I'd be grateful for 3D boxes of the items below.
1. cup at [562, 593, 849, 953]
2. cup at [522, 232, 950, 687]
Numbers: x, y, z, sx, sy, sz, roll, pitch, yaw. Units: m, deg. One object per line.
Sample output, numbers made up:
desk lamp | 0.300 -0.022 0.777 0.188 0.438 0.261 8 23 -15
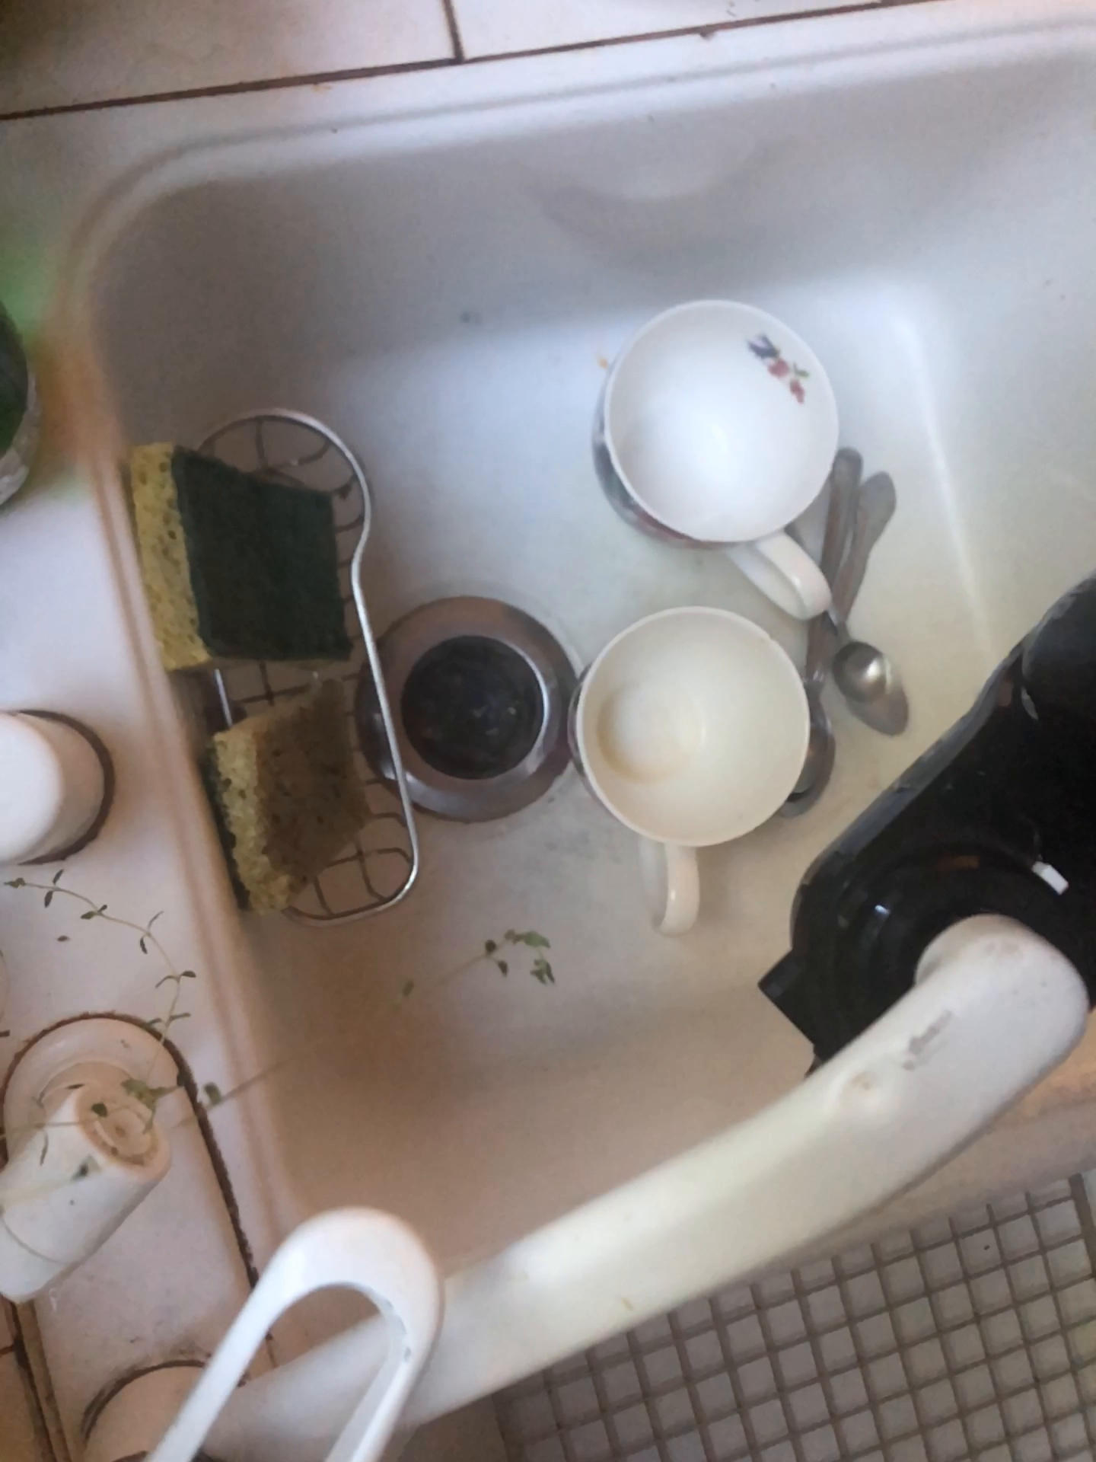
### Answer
cup | 0.066 0.019 0.529 0.100 0.070 0.140 4 87 -10
cup | 0.080 -0.114 0.539 0.110 0.070 0.150 -33 94 -10
